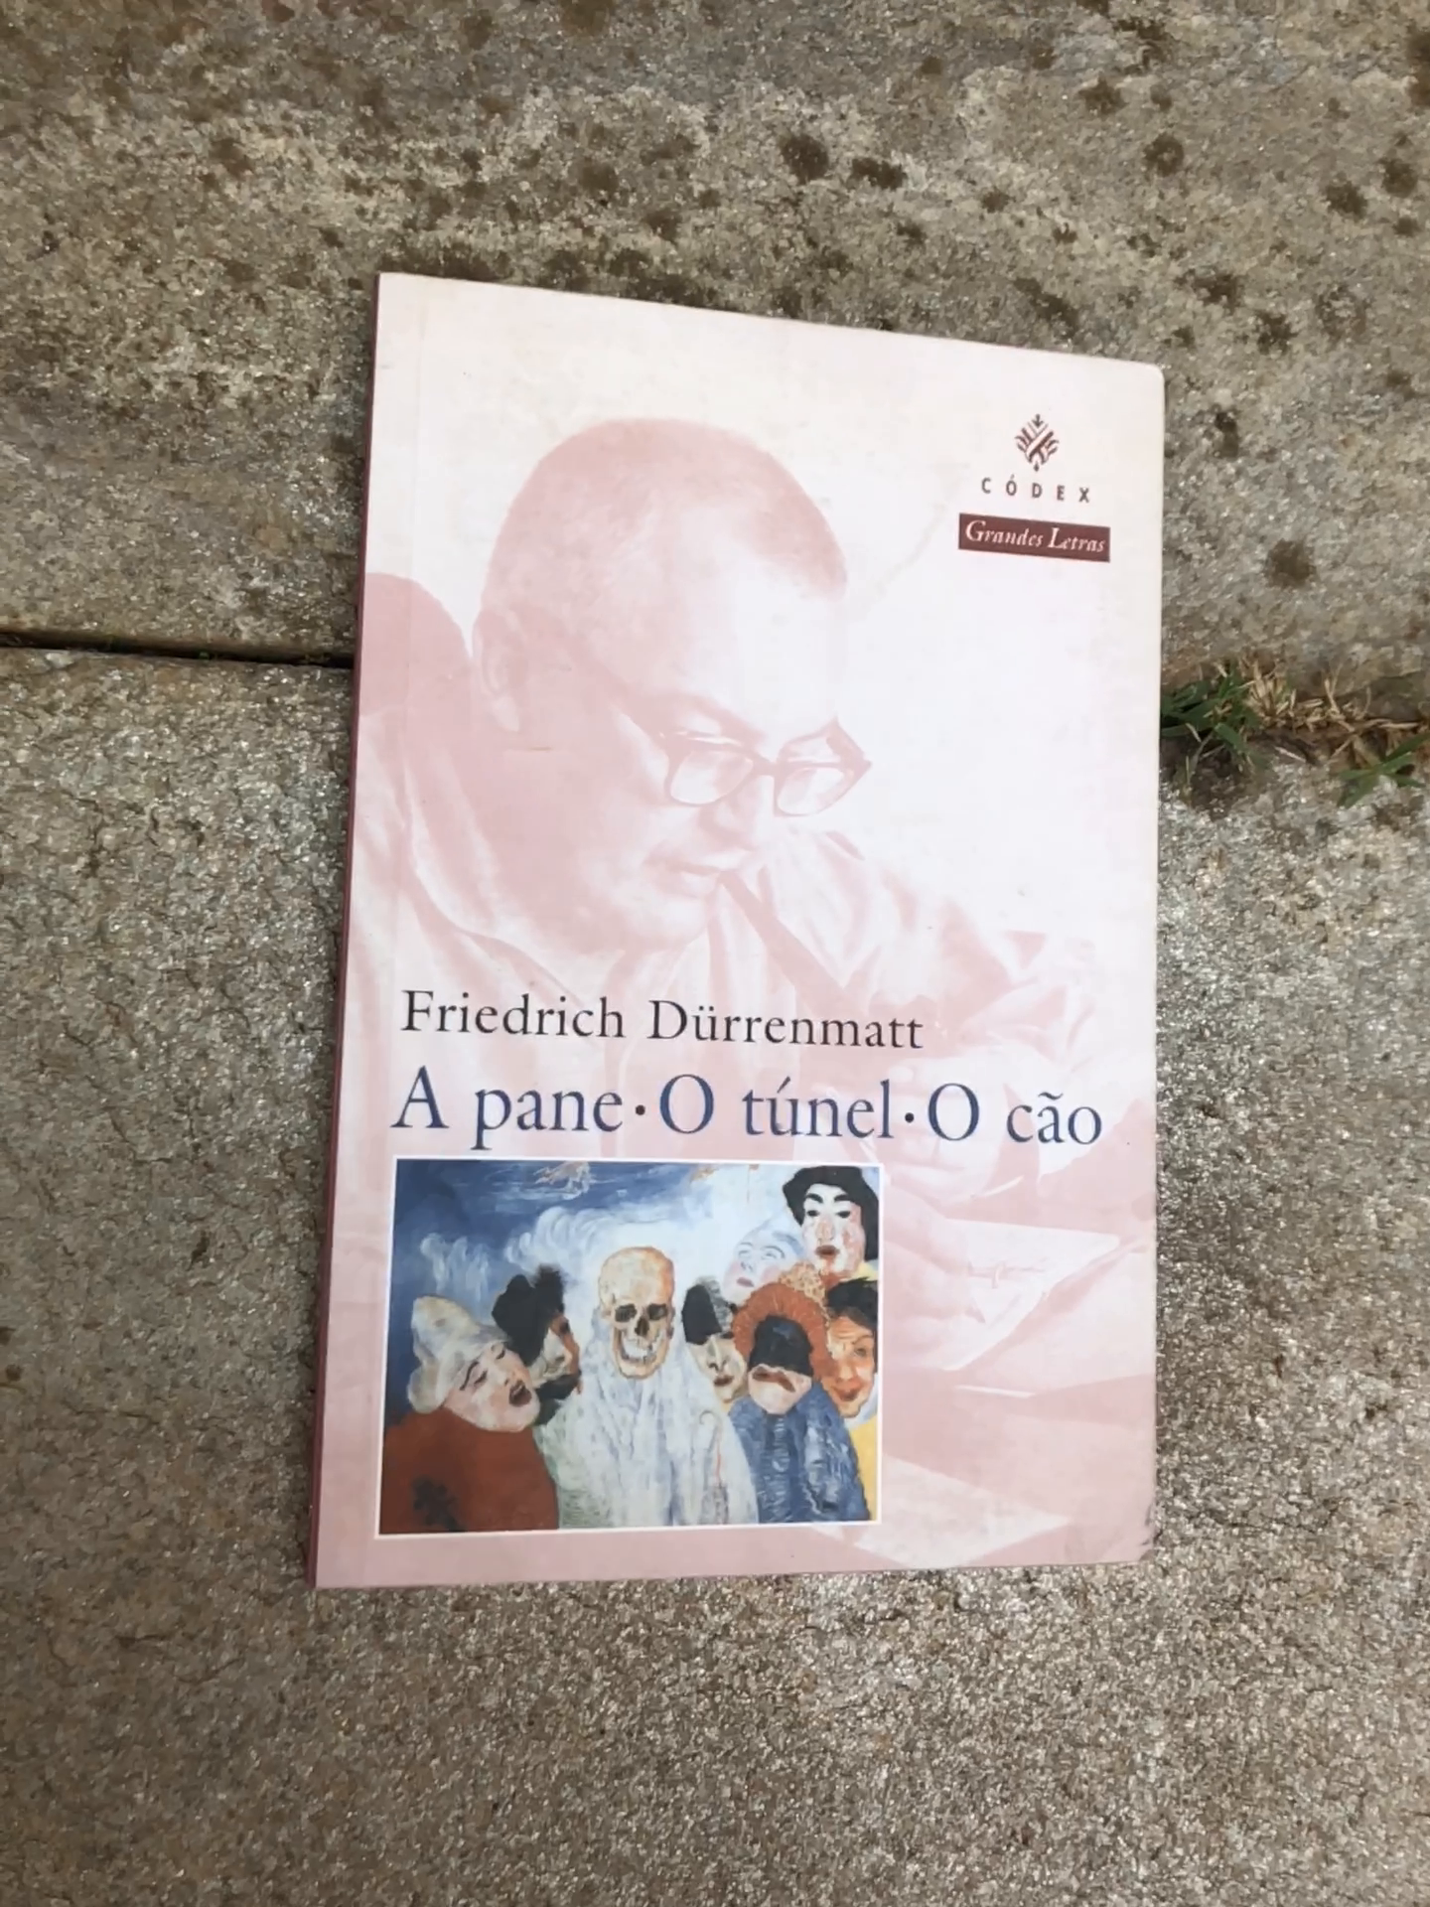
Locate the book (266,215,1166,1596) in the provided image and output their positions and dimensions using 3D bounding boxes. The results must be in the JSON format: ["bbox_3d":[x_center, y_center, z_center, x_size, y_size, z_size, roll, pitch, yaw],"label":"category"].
[{"bbox_3d":[0.004,-0.006,0.264,0.138,0.020,0.210,3,86,-11],"label":"book"}]
